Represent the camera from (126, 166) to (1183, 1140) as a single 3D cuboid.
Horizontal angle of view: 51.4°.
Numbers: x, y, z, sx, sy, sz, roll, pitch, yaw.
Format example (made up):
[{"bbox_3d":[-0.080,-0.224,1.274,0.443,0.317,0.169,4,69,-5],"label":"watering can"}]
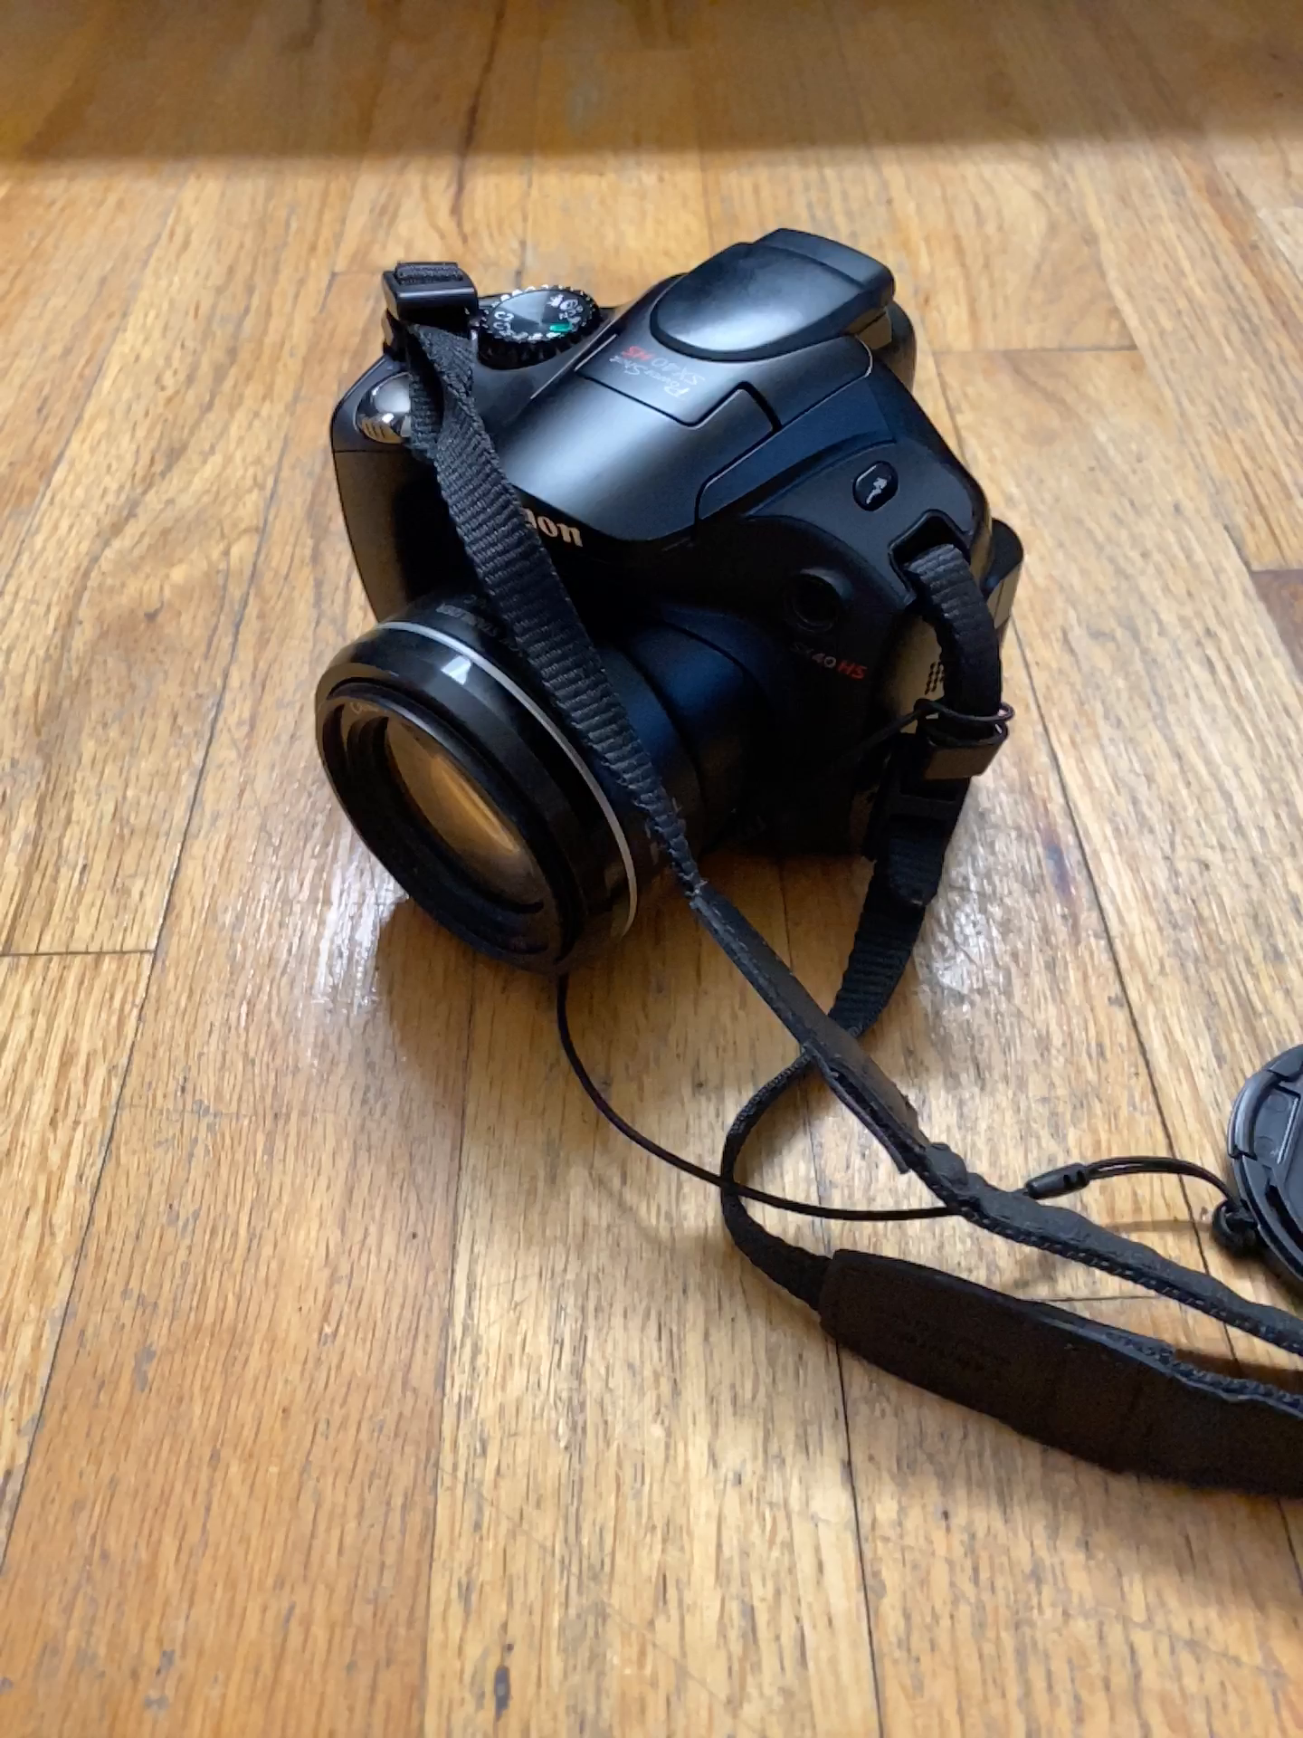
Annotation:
[{"bbox_3d":[0.001,-0.048,0.251,0.120,0.090,0.120,36,58,26],"label":"camera"}]
